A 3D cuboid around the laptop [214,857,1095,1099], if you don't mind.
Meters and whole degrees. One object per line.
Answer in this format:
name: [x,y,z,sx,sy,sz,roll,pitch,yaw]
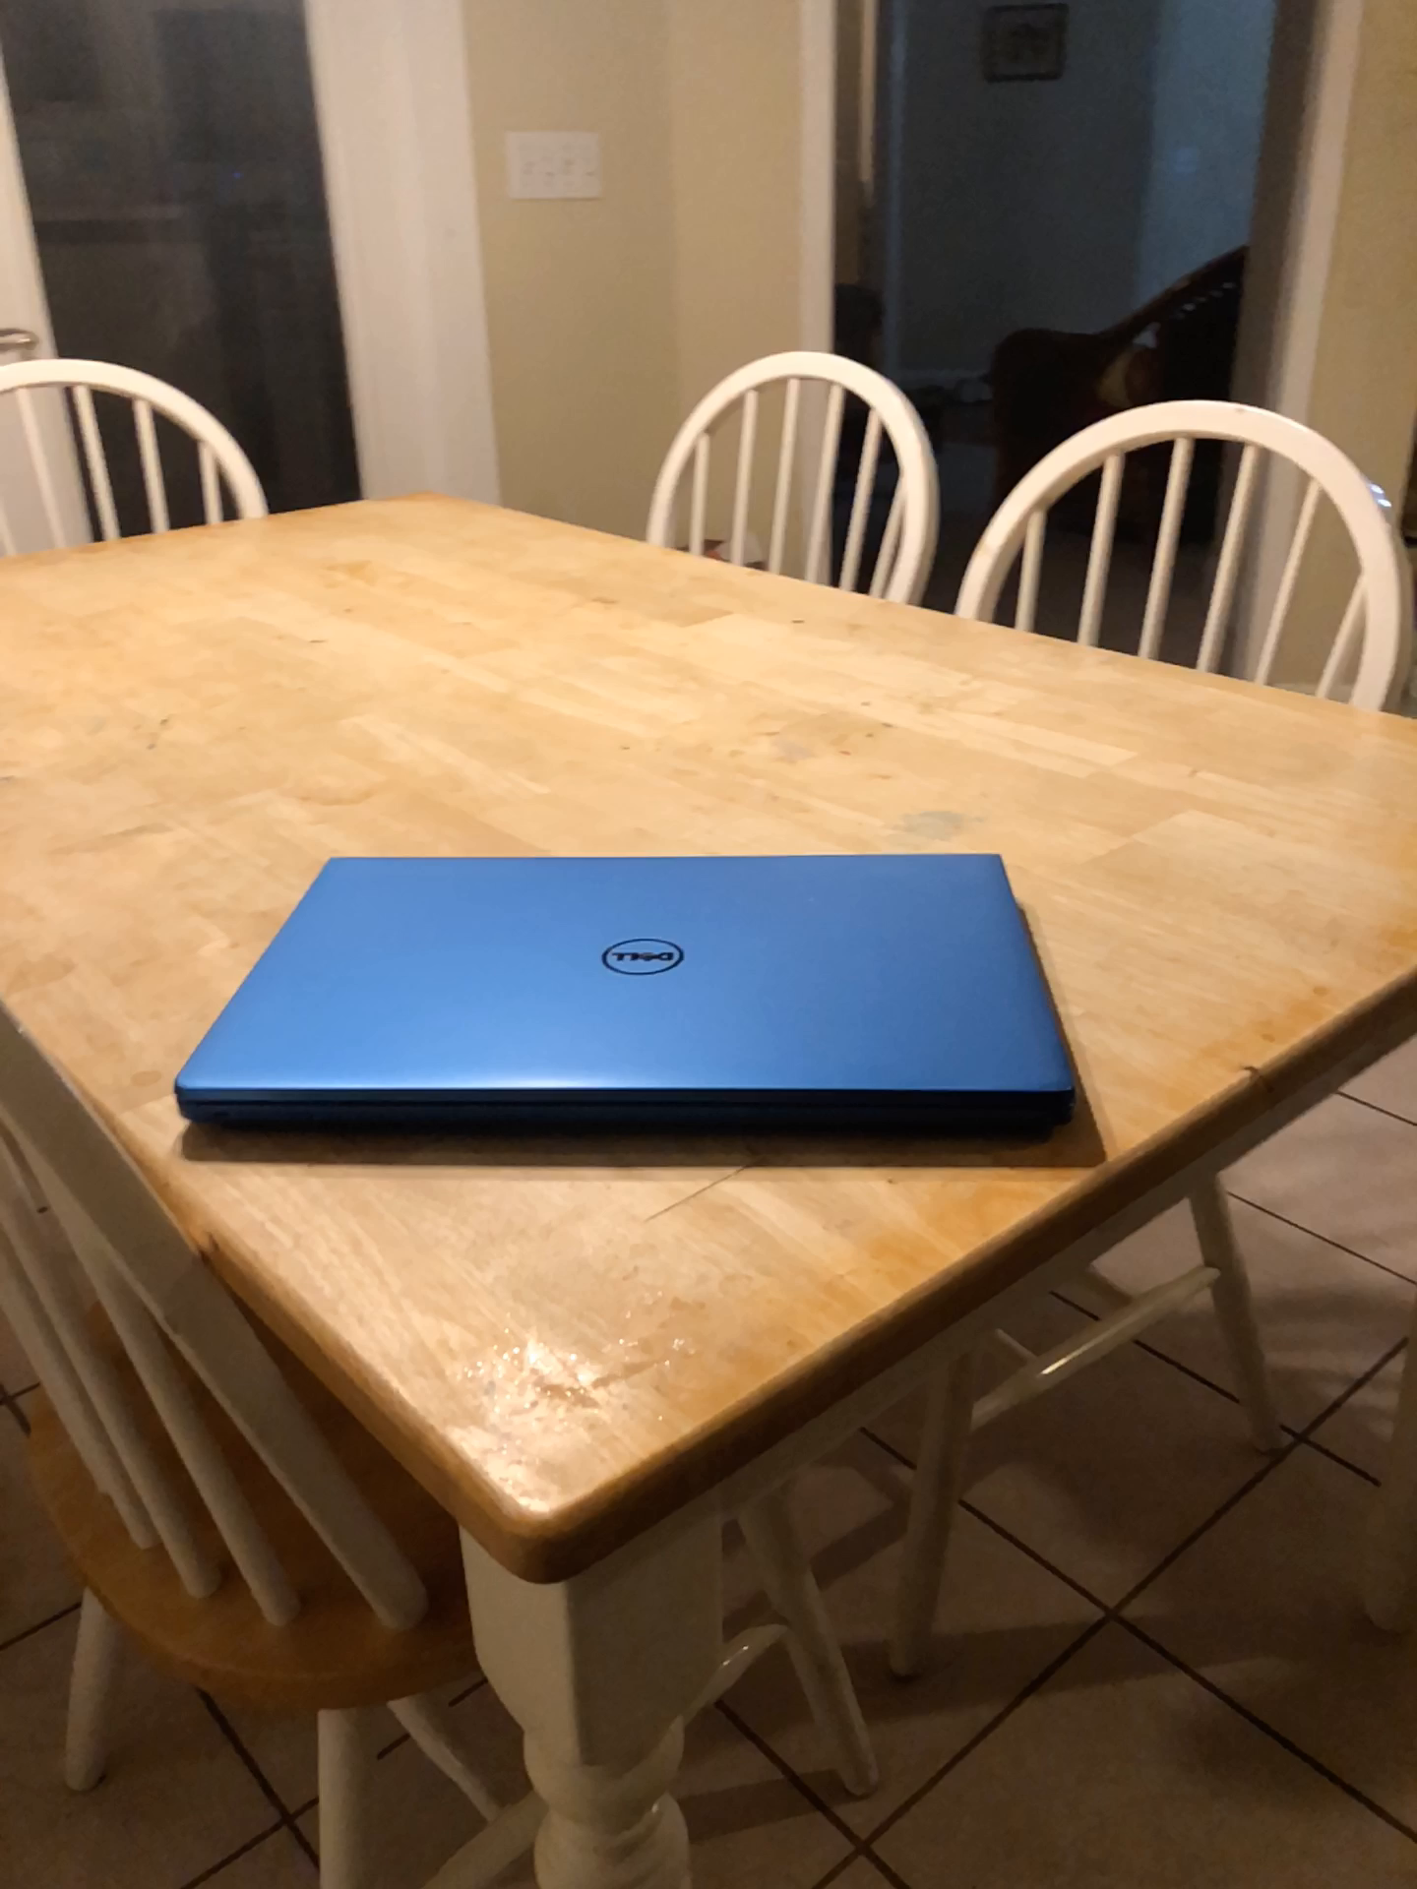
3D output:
laptop: [-0.020,0.009,0.797,0.388,0.001,0.261,0,26,3]
